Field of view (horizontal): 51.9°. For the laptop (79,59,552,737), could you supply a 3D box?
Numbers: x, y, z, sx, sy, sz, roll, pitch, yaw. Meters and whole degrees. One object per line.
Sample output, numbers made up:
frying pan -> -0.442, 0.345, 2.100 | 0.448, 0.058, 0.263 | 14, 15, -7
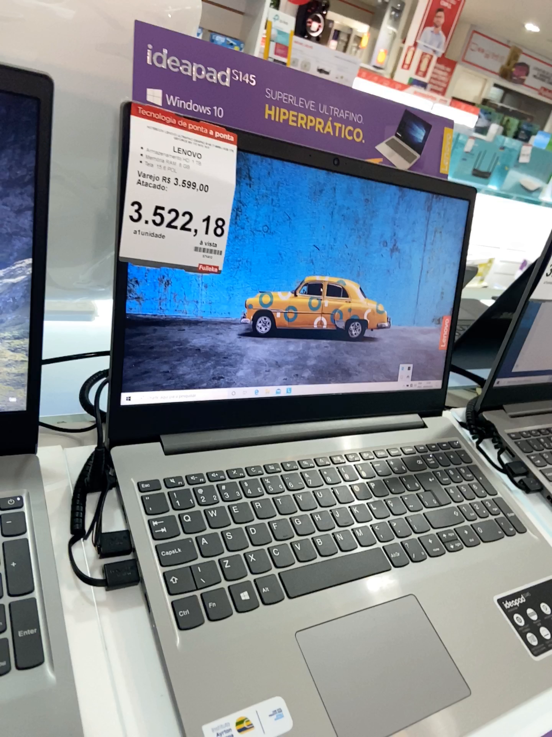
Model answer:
laptop -> 0.079, 0.000, 0.408 | 0.347, 0.209, 0.365 | -1, 40, -31
